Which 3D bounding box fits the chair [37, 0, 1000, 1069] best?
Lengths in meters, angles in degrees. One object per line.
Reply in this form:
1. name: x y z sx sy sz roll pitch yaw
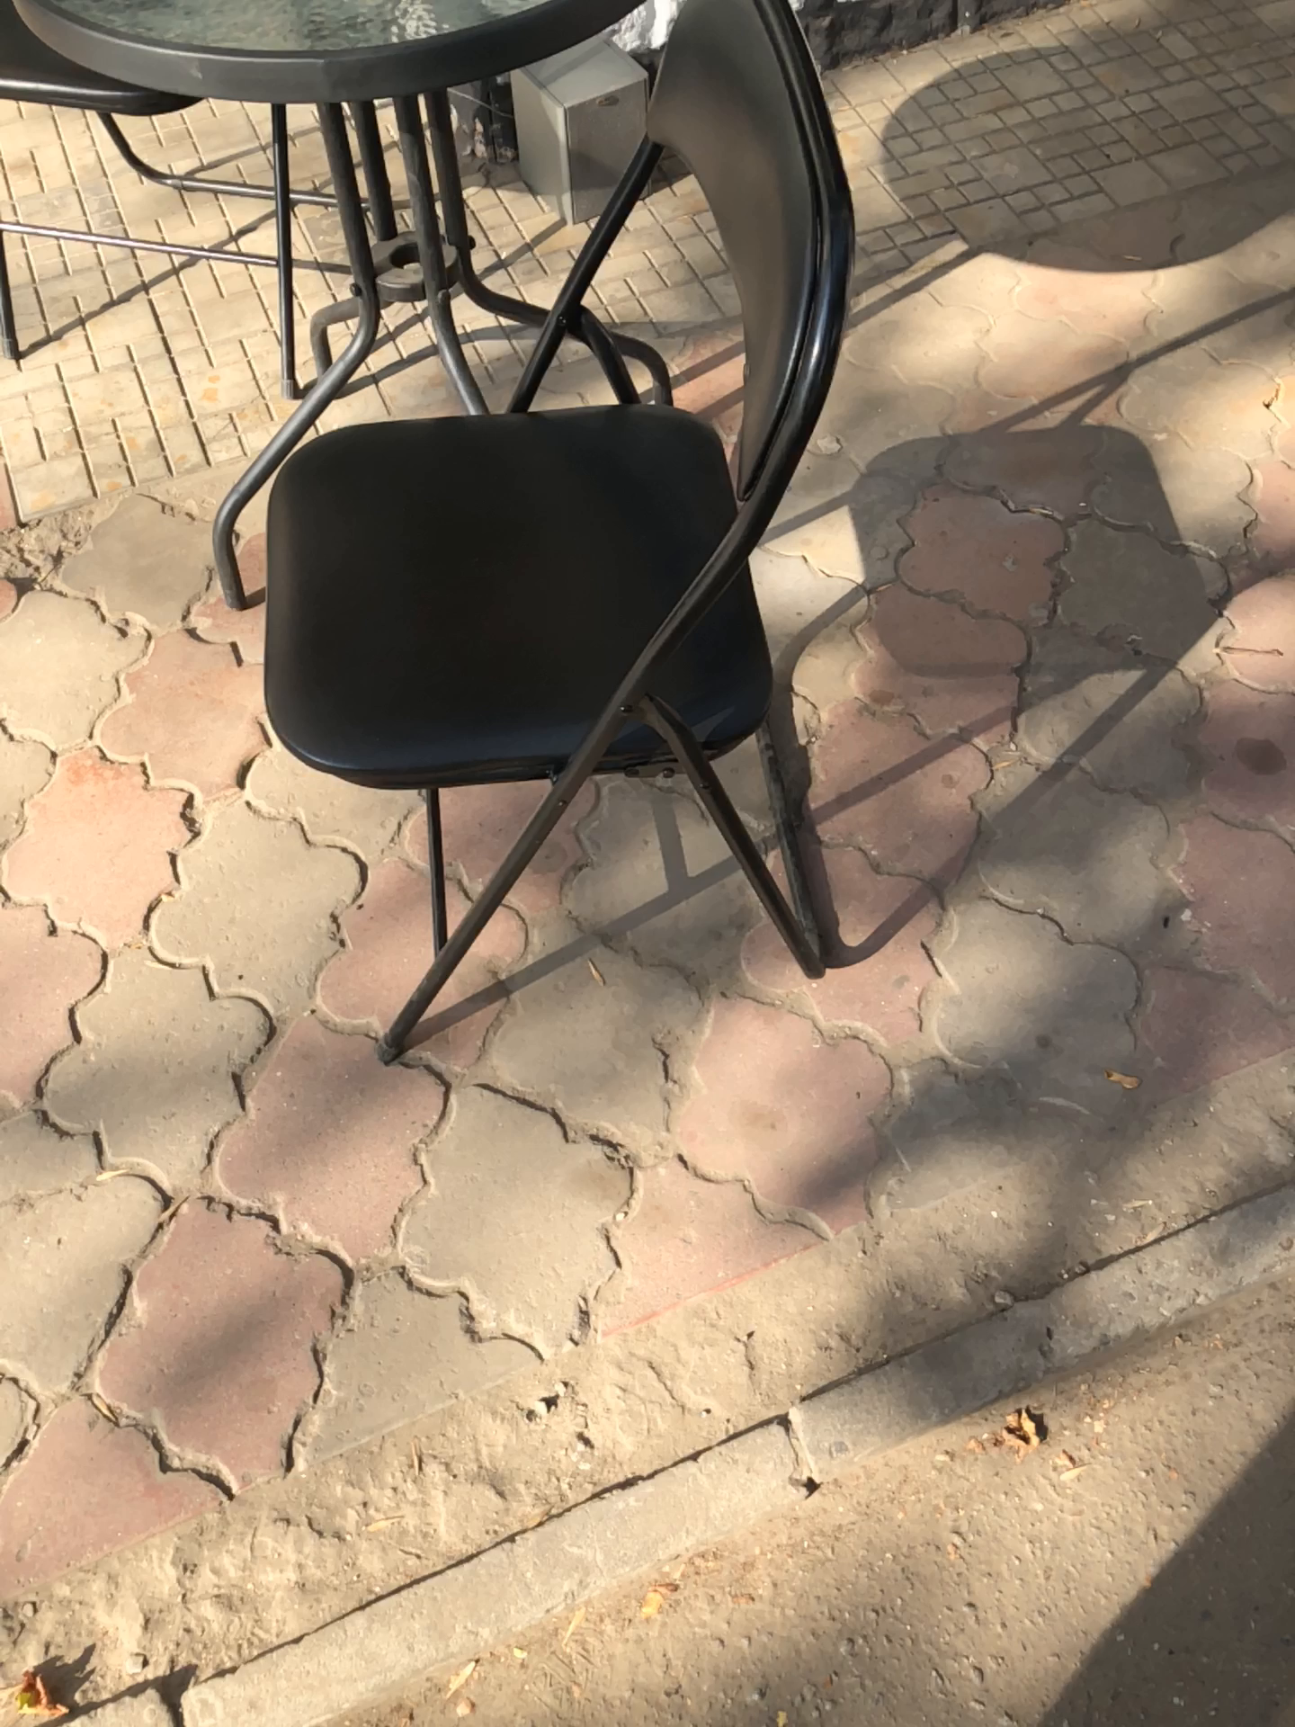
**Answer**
1. chair: -0.091 -0.312 1.344 0.570 0.837 0.582 -7 50 -3
